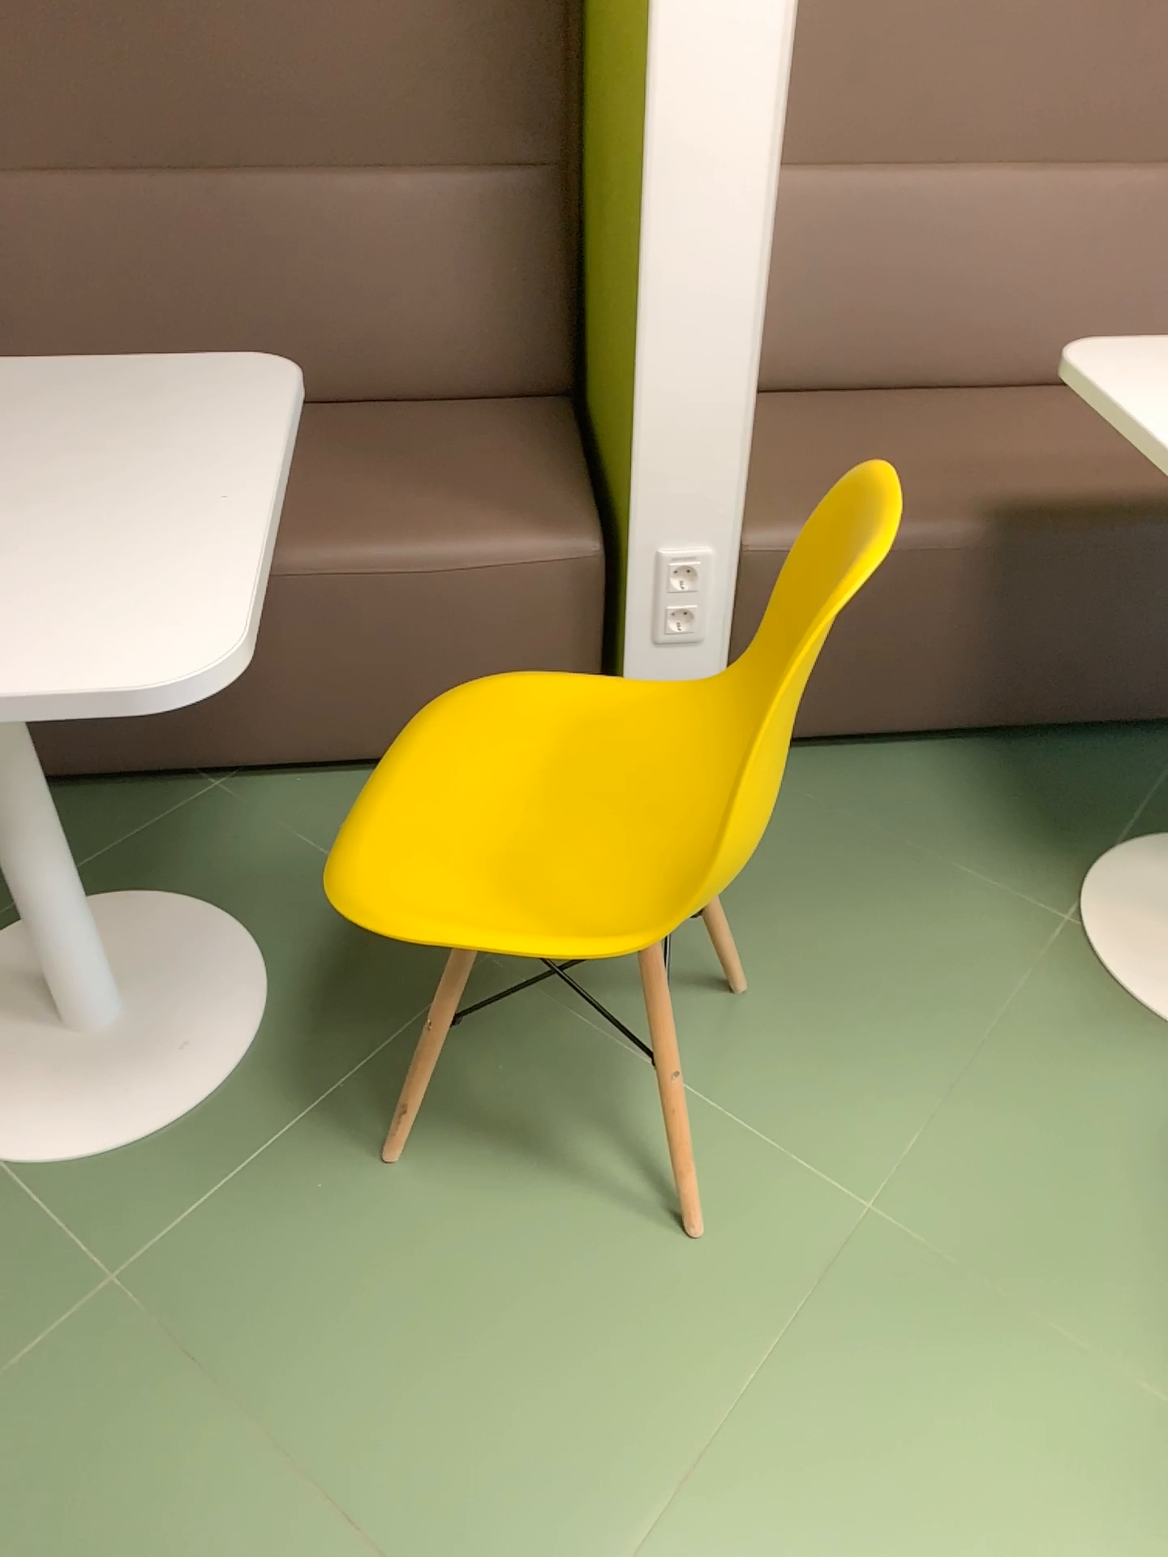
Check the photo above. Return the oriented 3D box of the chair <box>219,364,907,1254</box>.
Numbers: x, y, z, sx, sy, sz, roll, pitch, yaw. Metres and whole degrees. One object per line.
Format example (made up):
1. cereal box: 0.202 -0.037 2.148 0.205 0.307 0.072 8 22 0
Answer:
1. chair: 0.006 0.052 1.295 0.520 0.815 0.412 9 39 9
